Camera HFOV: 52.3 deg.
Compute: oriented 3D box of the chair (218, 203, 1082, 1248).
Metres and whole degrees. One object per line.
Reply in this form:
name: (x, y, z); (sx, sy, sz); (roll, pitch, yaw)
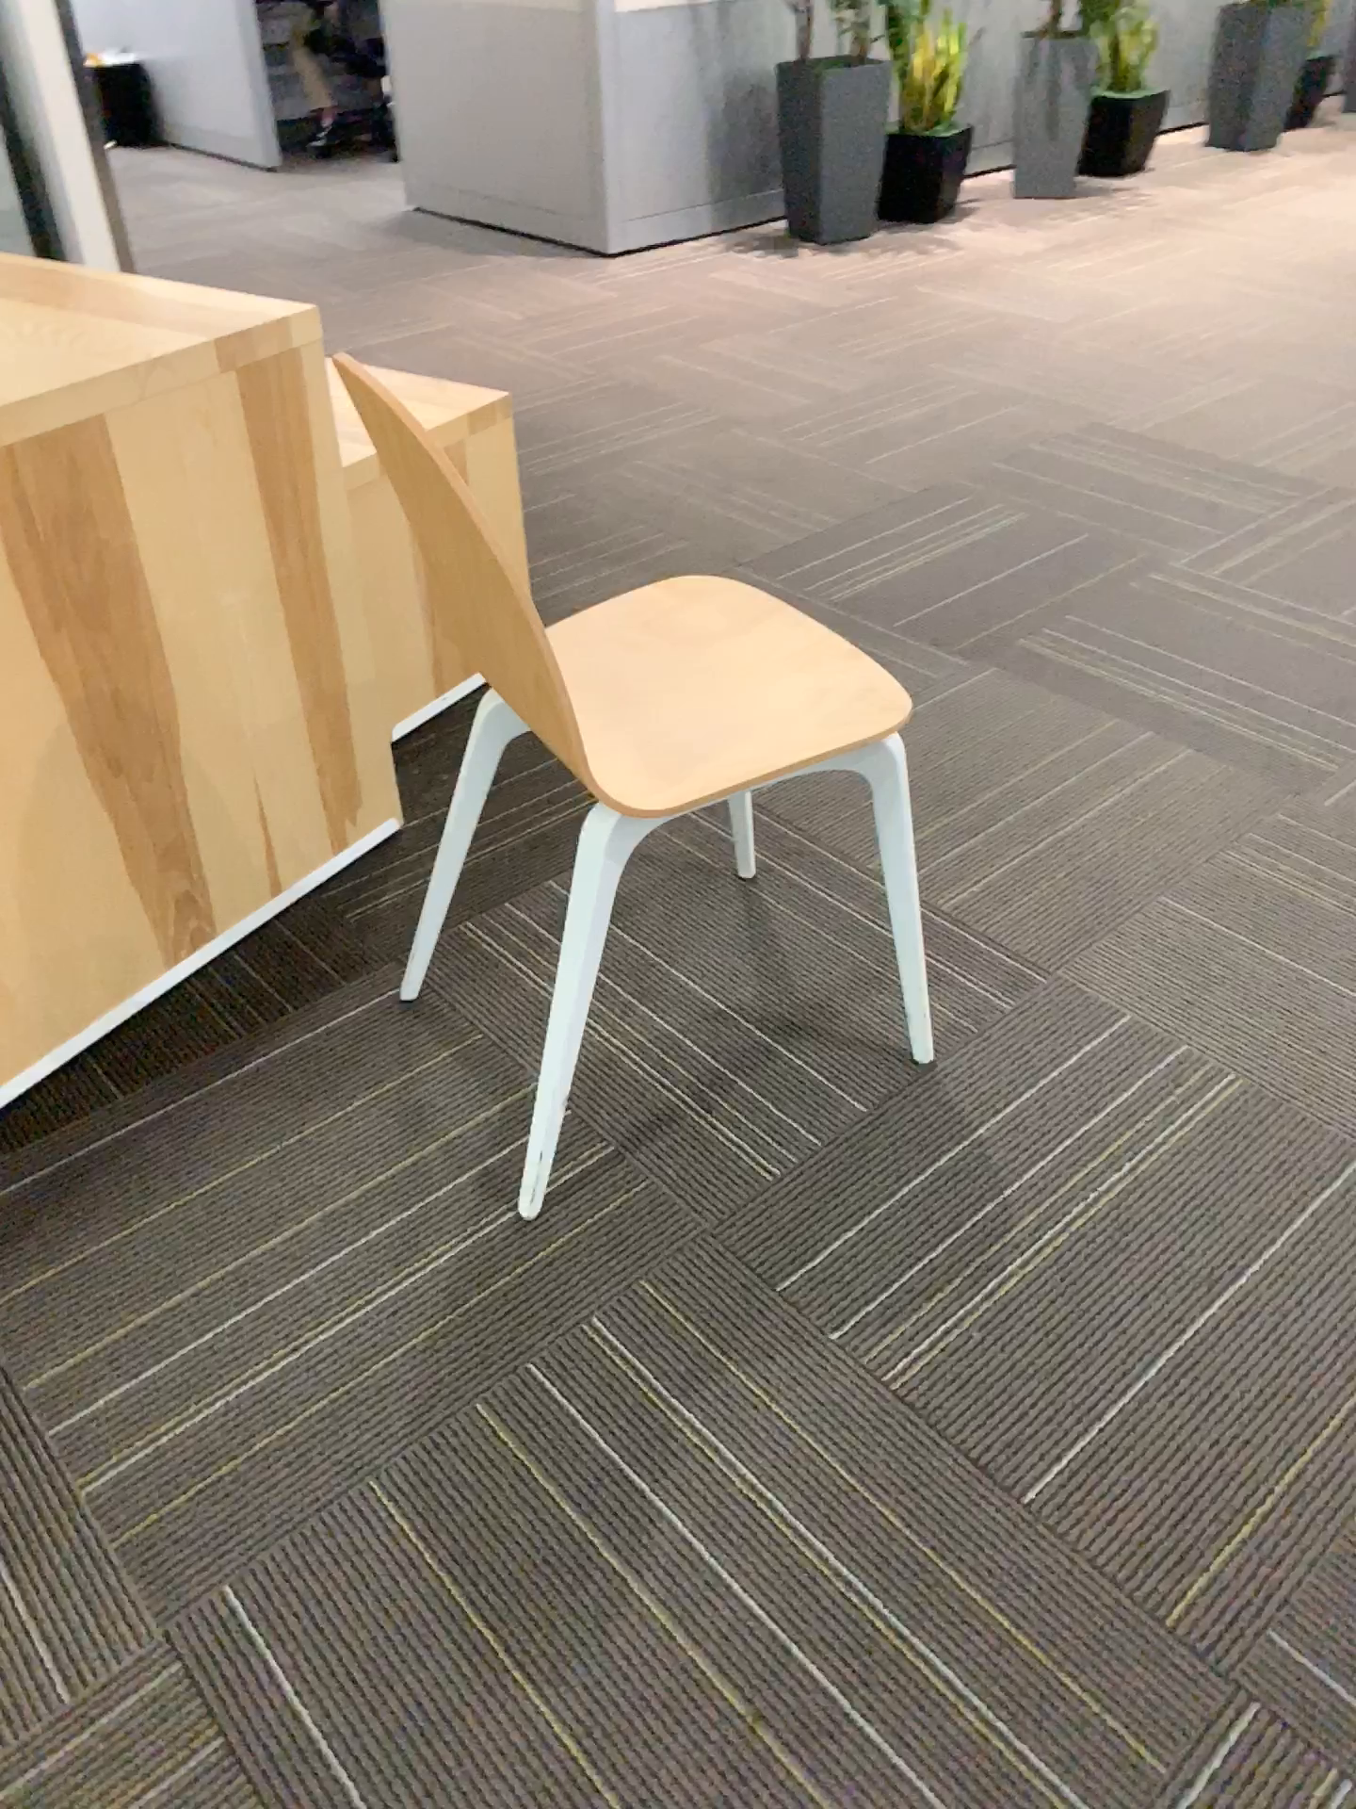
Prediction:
chair: (-0.043, -0.209, 1.453); (0.560, 0.815, 0.553); (-20, 41, -23)
